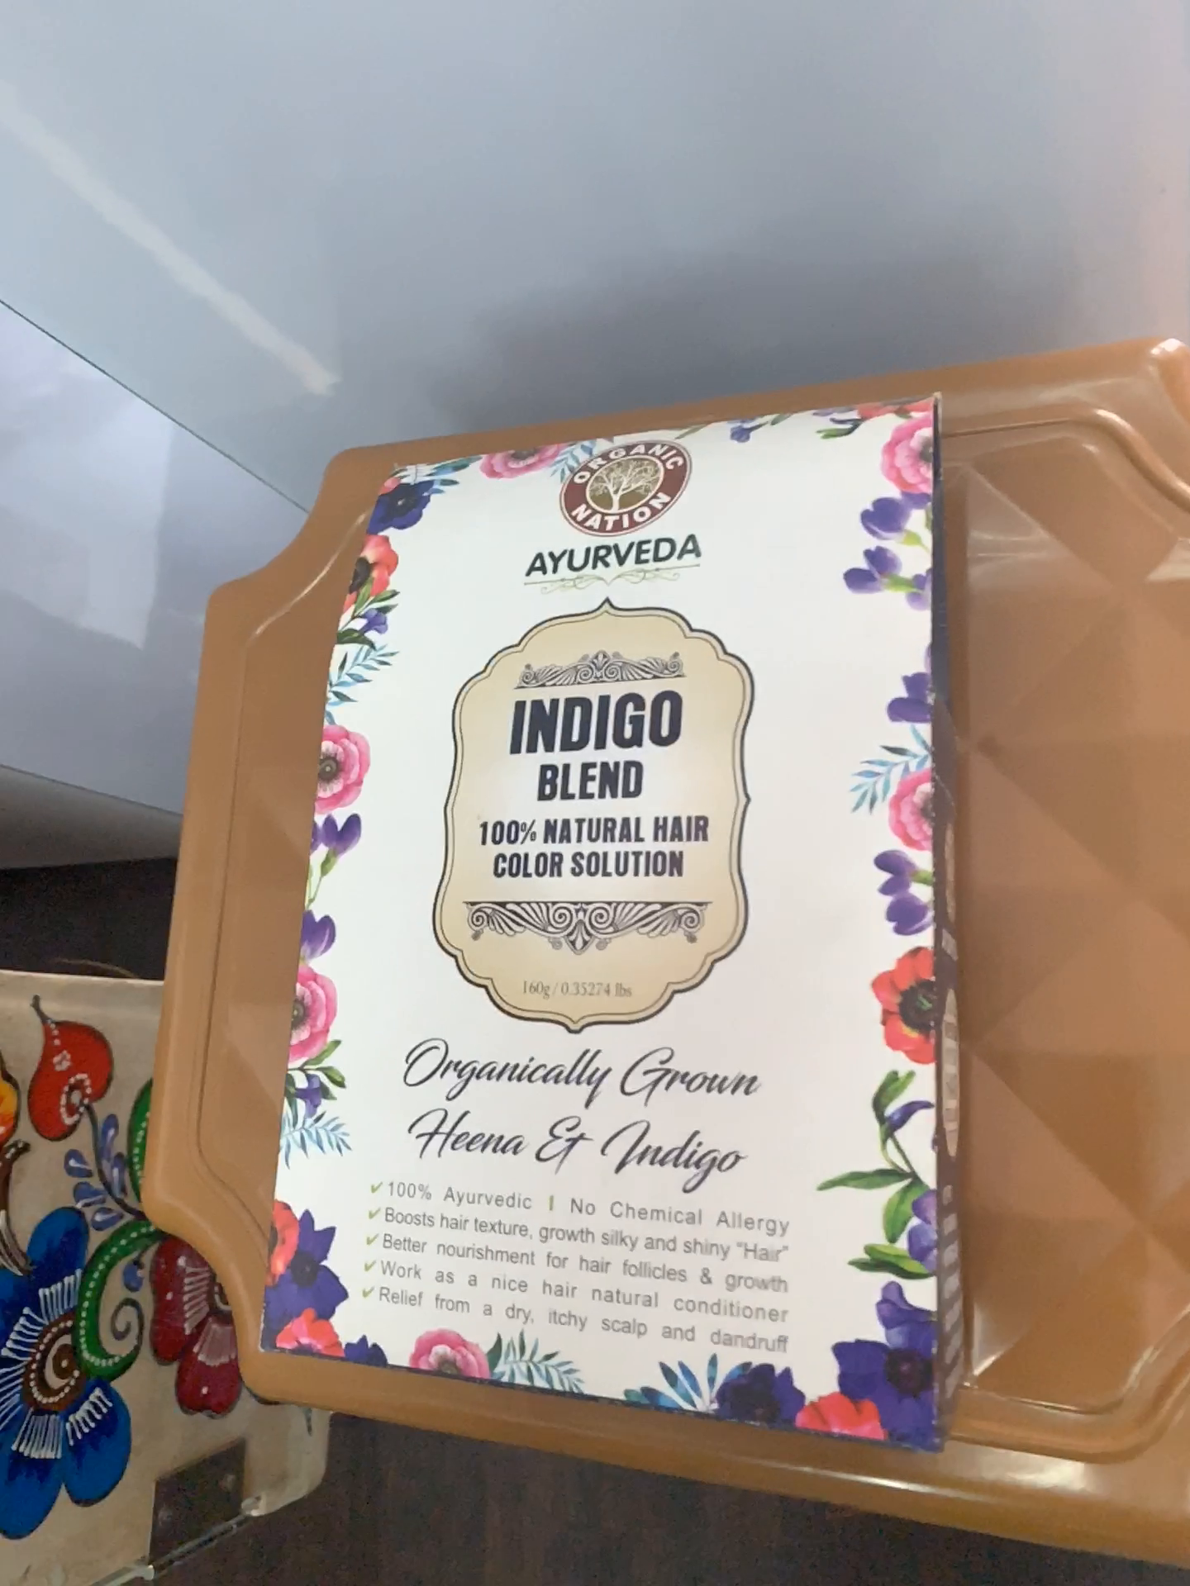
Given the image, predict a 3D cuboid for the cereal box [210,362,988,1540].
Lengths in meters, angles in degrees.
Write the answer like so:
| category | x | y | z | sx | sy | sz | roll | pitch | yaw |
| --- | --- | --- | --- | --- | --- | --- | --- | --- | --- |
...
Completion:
| category | x | y | z | sx | sy | sz | roll | pitch | yaw |
| --- | --- | --- | --- | --- | --- | --- | --- | --- | --- |
| cereal box | 0.008 | 0.027 | 0.266 | 0.140 | 0.070 | 0.200 | -2 | 77 | 22 |
